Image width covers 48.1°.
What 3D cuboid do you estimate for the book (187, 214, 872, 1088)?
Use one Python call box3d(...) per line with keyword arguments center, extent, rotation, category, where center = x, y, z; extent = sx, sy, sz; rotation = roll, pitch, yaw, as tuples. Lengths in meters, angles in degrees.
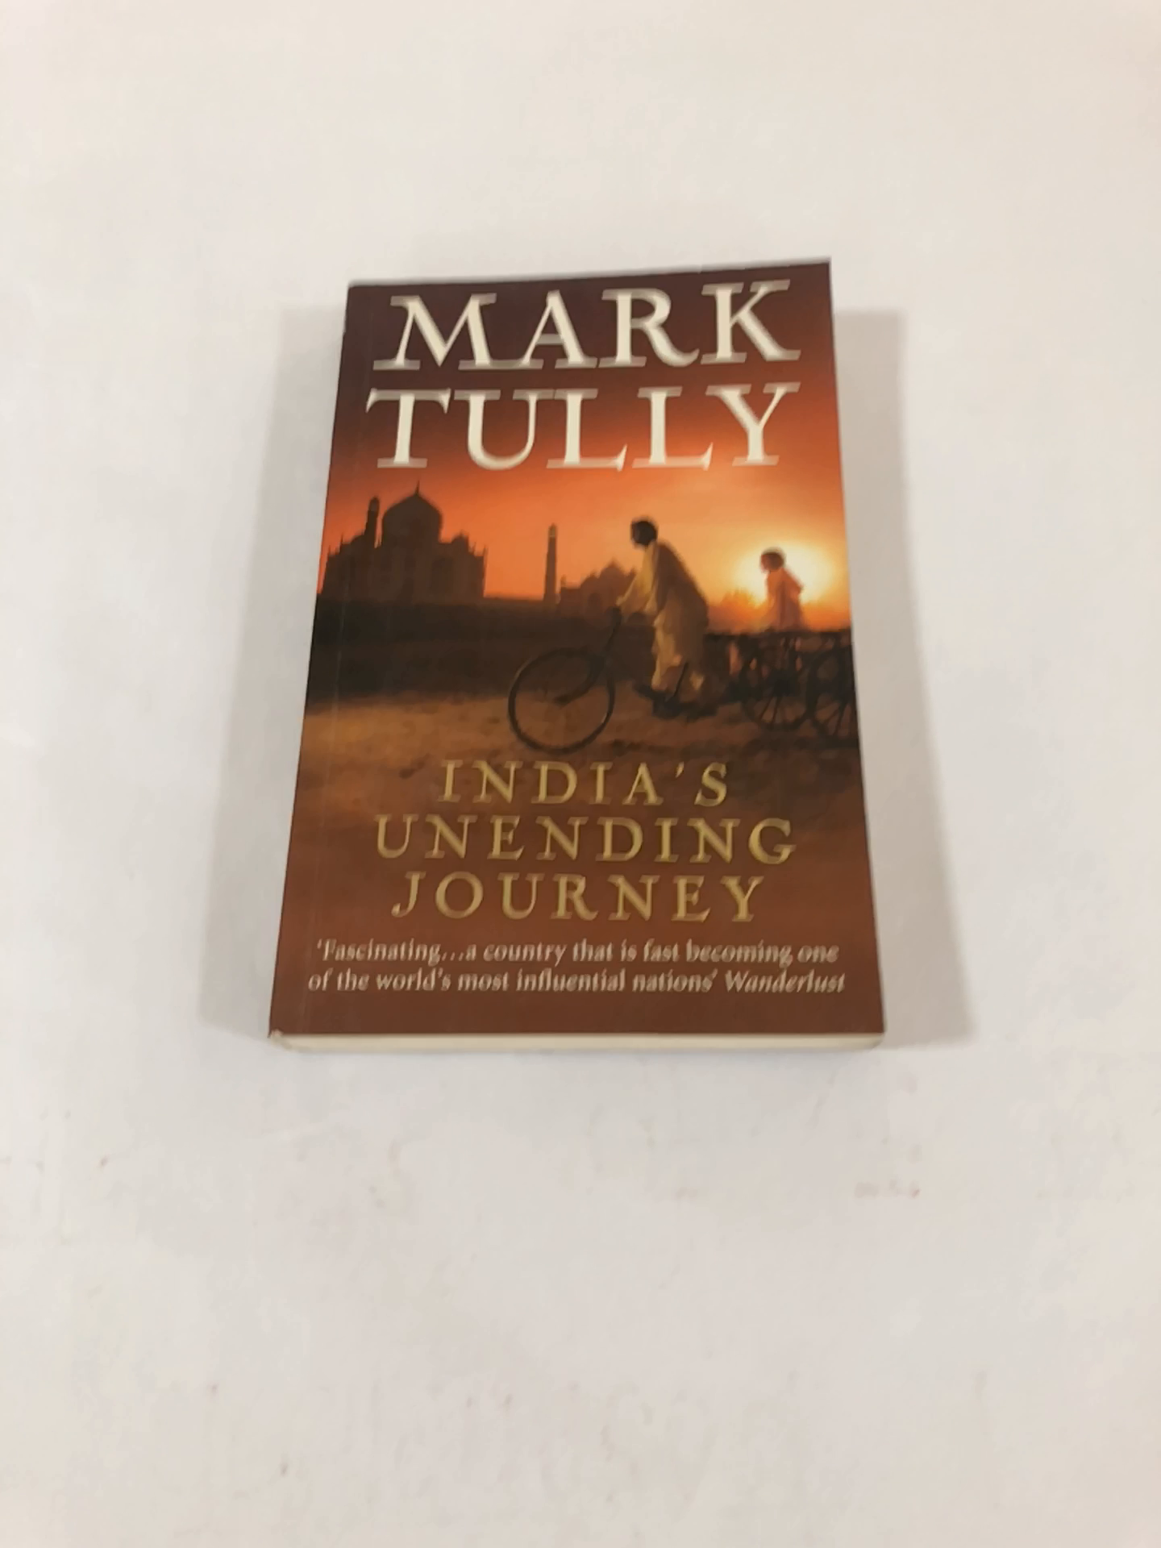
box3d(center=(-0.007, -0.038, 0.300), extent=(0.130, 0.030, 0.210), rotation=(1, 67, 2), category="book")
